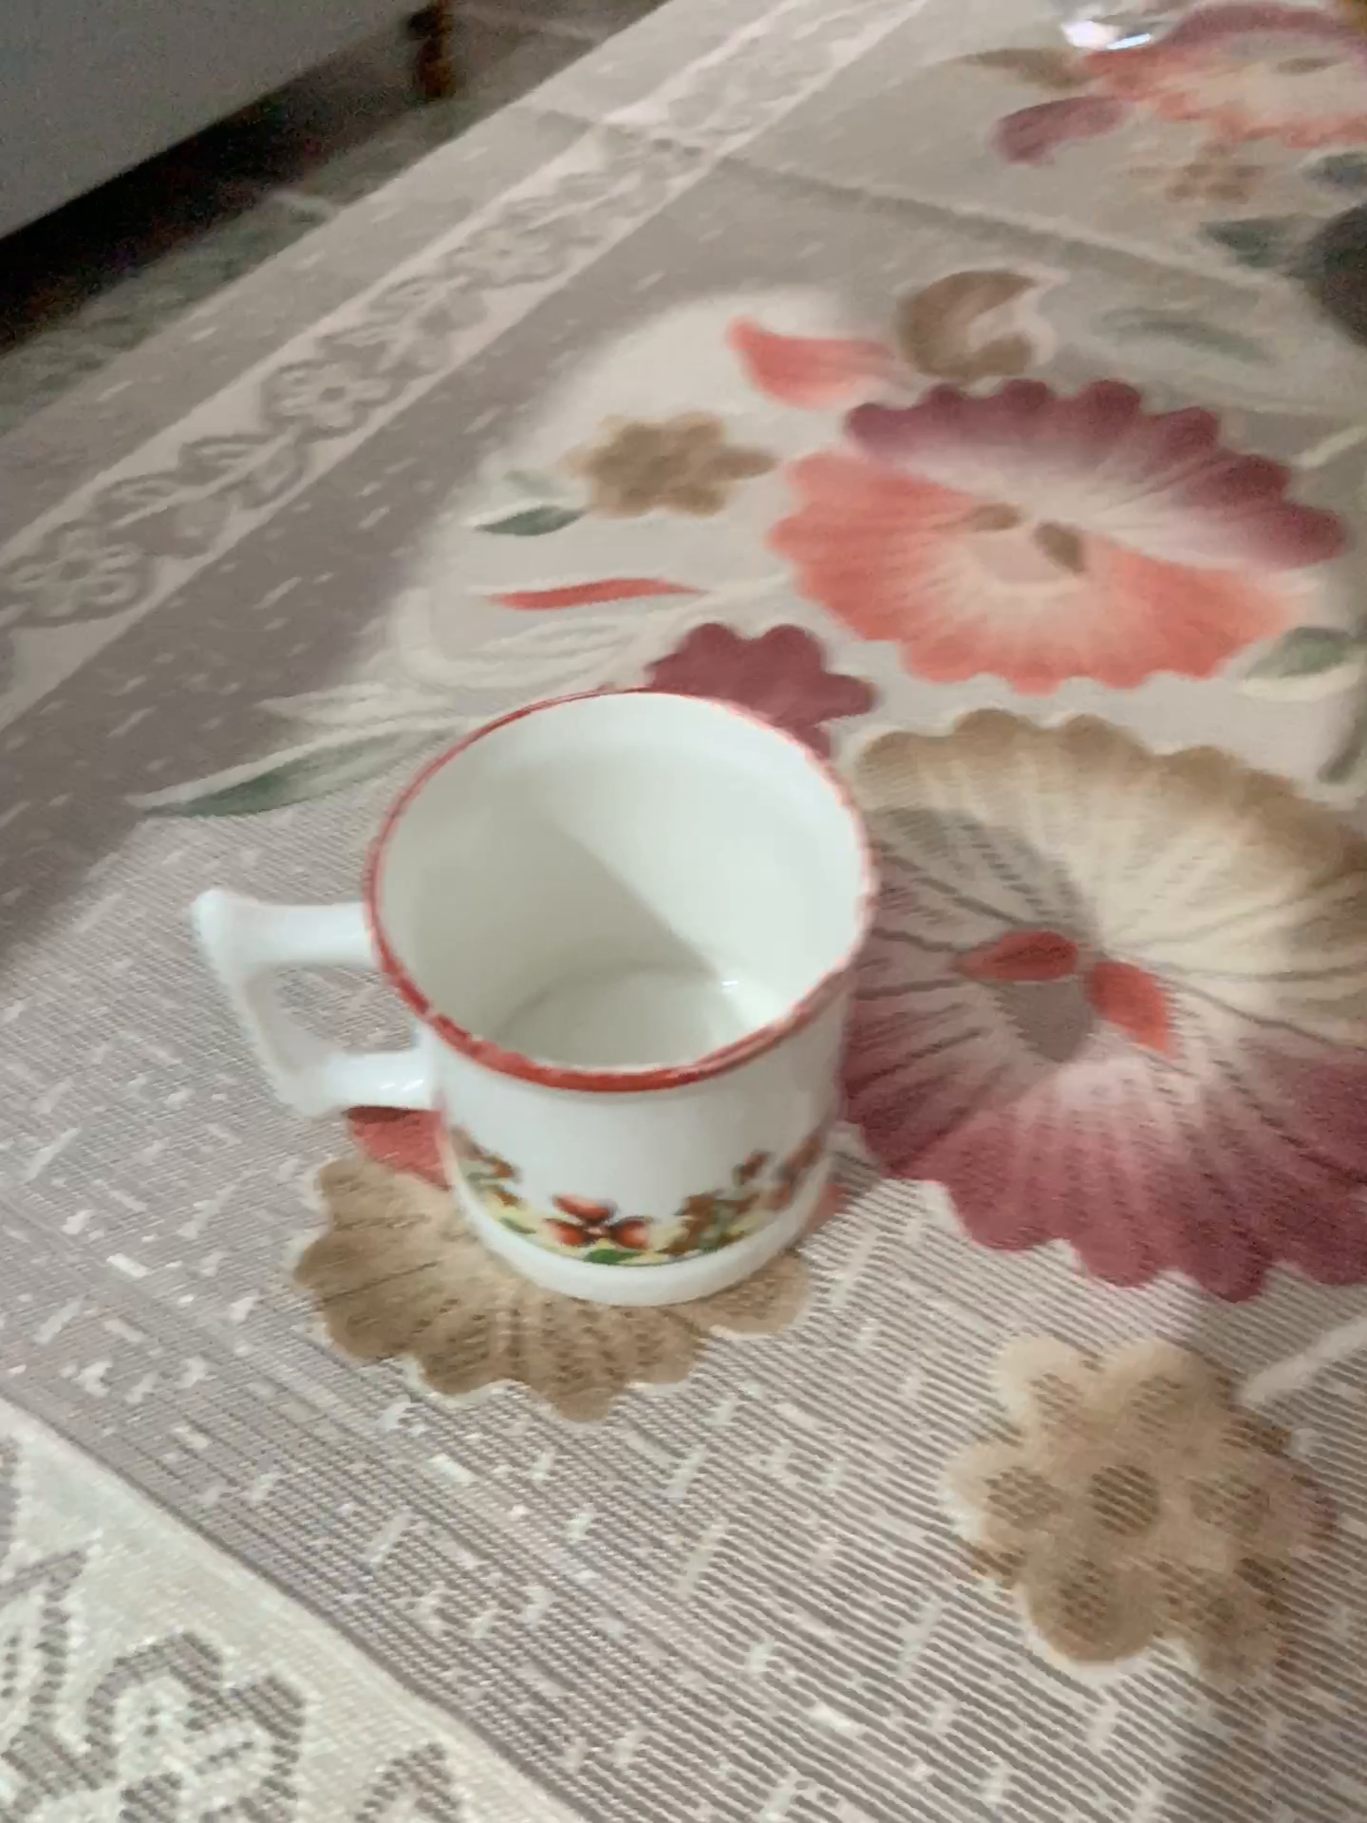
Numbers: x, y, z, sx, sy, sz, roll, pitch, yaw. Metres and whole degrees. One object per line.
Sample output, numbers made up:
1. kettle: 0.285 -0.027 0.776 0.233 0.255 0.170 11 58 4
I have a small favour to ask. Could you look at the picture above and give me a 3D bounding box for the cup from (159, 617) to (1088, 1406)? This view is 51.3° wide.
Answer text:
1. cup: -0.009 0.016 0.206 0.100 0.080 0.070 -6 51 -3
